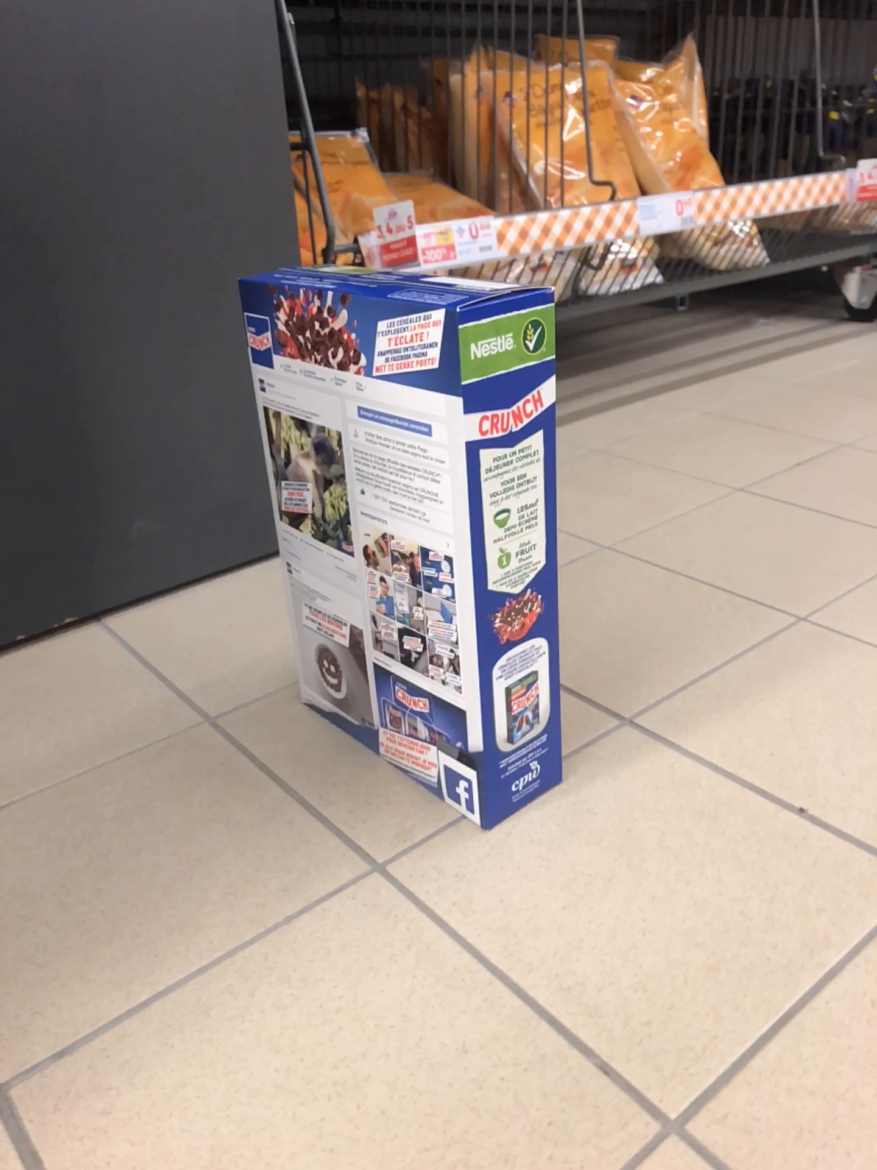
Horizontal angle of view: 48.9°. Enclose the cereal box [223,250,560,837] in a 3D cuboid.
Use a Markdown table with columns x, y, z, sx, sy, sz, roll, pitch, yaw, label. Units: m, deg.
| x | y | z | sx | sy | sz | roll | pitch | yaw | label |
| --- | --- | --- | --- | --- | --- | --- | --- | --- | --- |
| -0.026 | -0.032 | 0.555 | 0.070 | 0.288 | 0.190 | -22 | 31 | -36 | cereal box |
